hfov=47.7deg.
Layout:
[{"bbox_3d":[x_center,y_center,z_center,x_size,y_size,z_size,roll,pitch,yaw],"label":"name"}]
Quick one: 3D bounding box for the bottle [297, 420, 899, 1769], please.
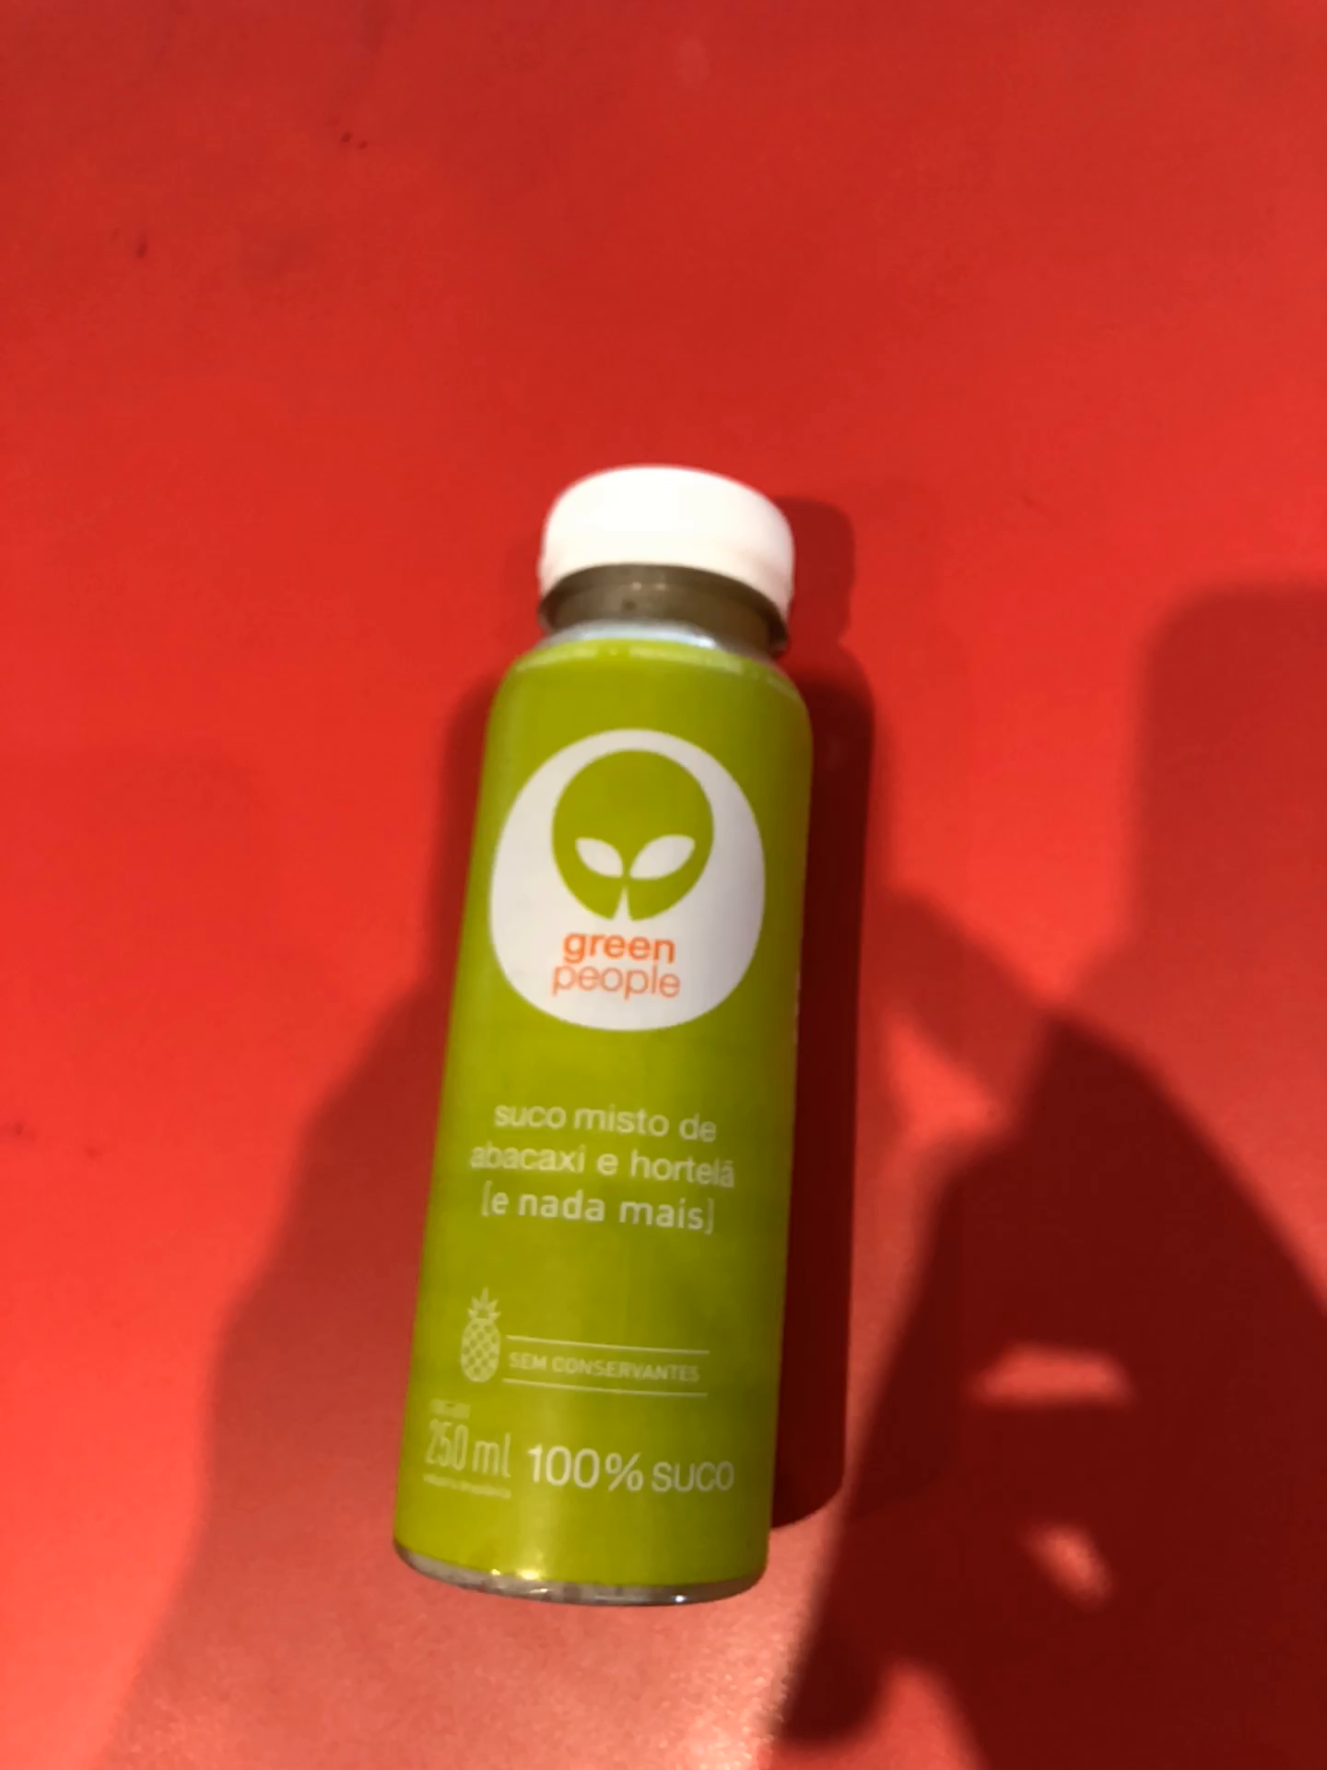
[{"bbox_3d":[-0.006,0.026,0.220,0.060,0.050,0.170,6,82,3],"label":"bottle"}]
